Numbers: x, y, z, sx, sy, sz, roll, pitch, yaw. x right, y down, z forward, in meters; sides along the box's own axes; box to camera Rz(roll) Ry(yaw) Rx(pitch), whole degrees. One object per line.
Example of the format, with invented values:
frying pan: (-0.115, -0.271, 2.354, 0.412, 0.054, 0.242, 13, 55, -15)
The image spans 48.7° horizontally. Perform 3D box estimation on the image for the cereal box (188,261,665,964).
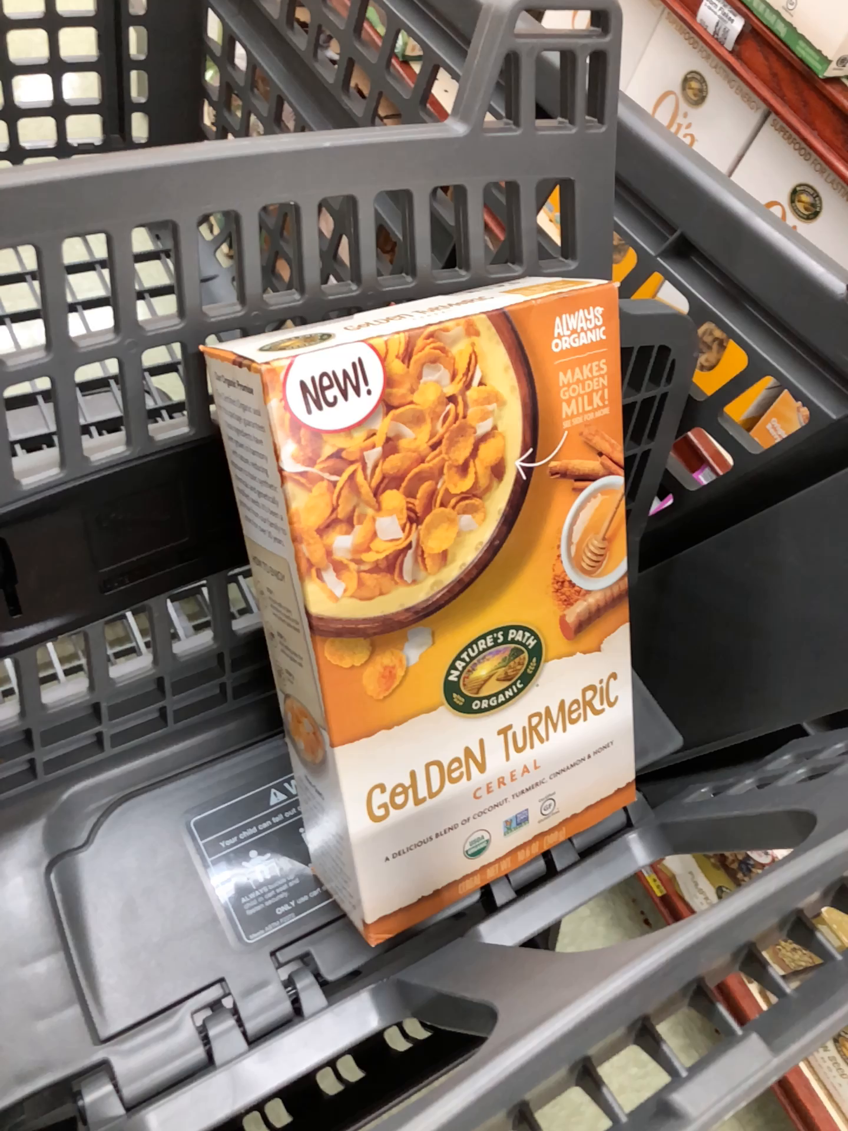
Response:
cereal box: (0.018, 0.014, 0.428, 0.180, 0.270, 0.070, -19, 25, -28)
